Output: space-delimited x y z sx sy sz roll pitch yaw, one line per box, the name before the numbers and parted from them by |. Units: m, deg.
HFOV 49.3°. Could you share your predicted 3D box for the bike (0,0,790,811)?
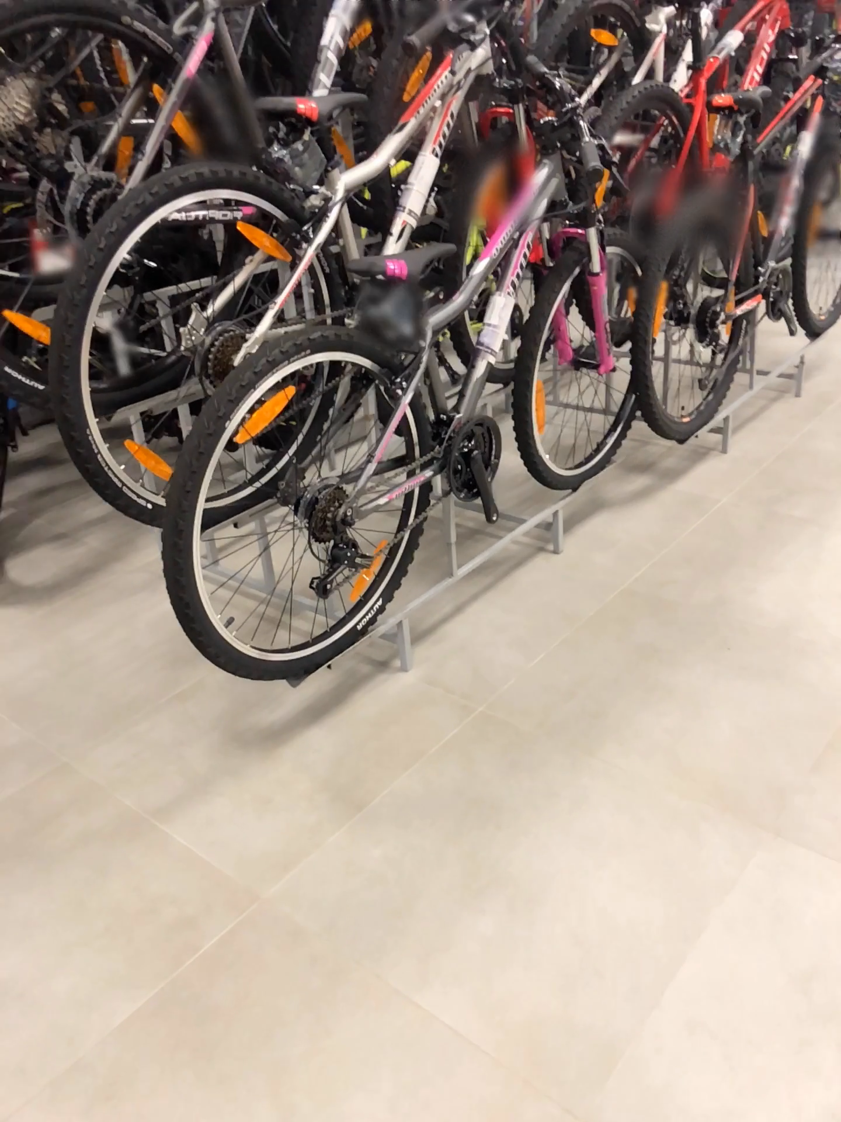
bike | 0.101 -0.534 1.845 0.599 0.990 1.612 17 38 36
